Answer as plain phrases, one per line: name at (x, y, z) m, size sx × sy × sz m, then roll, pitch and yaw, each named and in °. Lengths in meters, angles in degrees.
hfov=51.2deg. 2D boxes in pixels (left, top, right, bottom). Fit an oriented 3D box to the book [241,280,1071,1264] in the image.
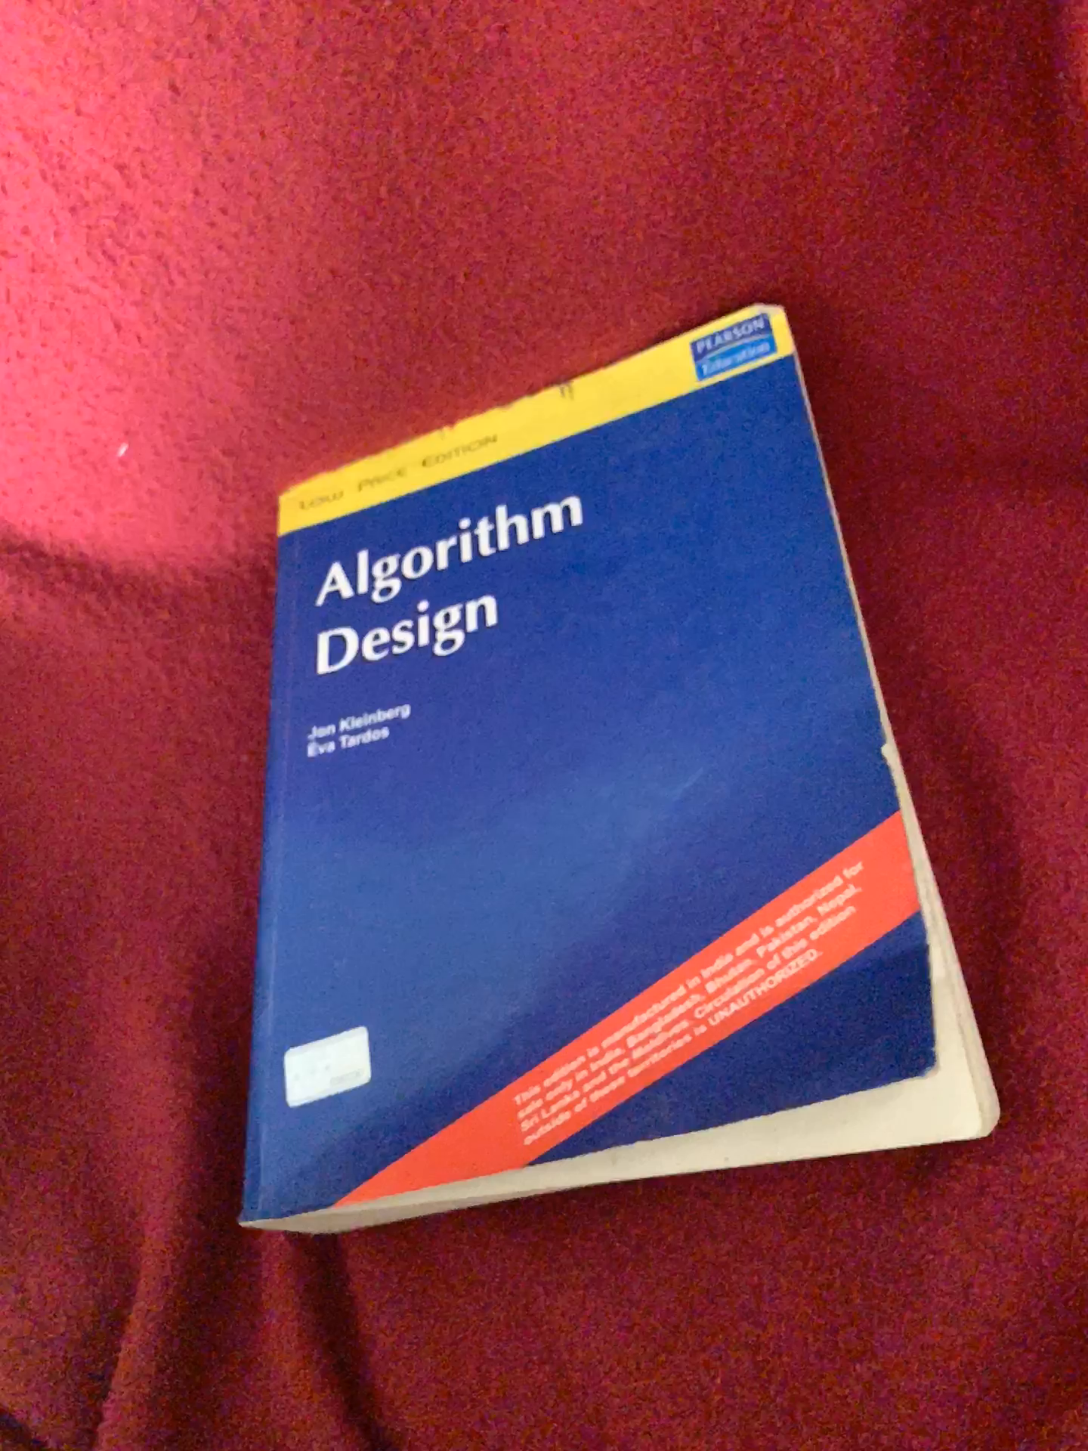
book at (0.014, 0.009, 0.335) m, size 0.190 × 0.060 × 0.251 m, roll -15°, pitch 60°, yaw 15°
